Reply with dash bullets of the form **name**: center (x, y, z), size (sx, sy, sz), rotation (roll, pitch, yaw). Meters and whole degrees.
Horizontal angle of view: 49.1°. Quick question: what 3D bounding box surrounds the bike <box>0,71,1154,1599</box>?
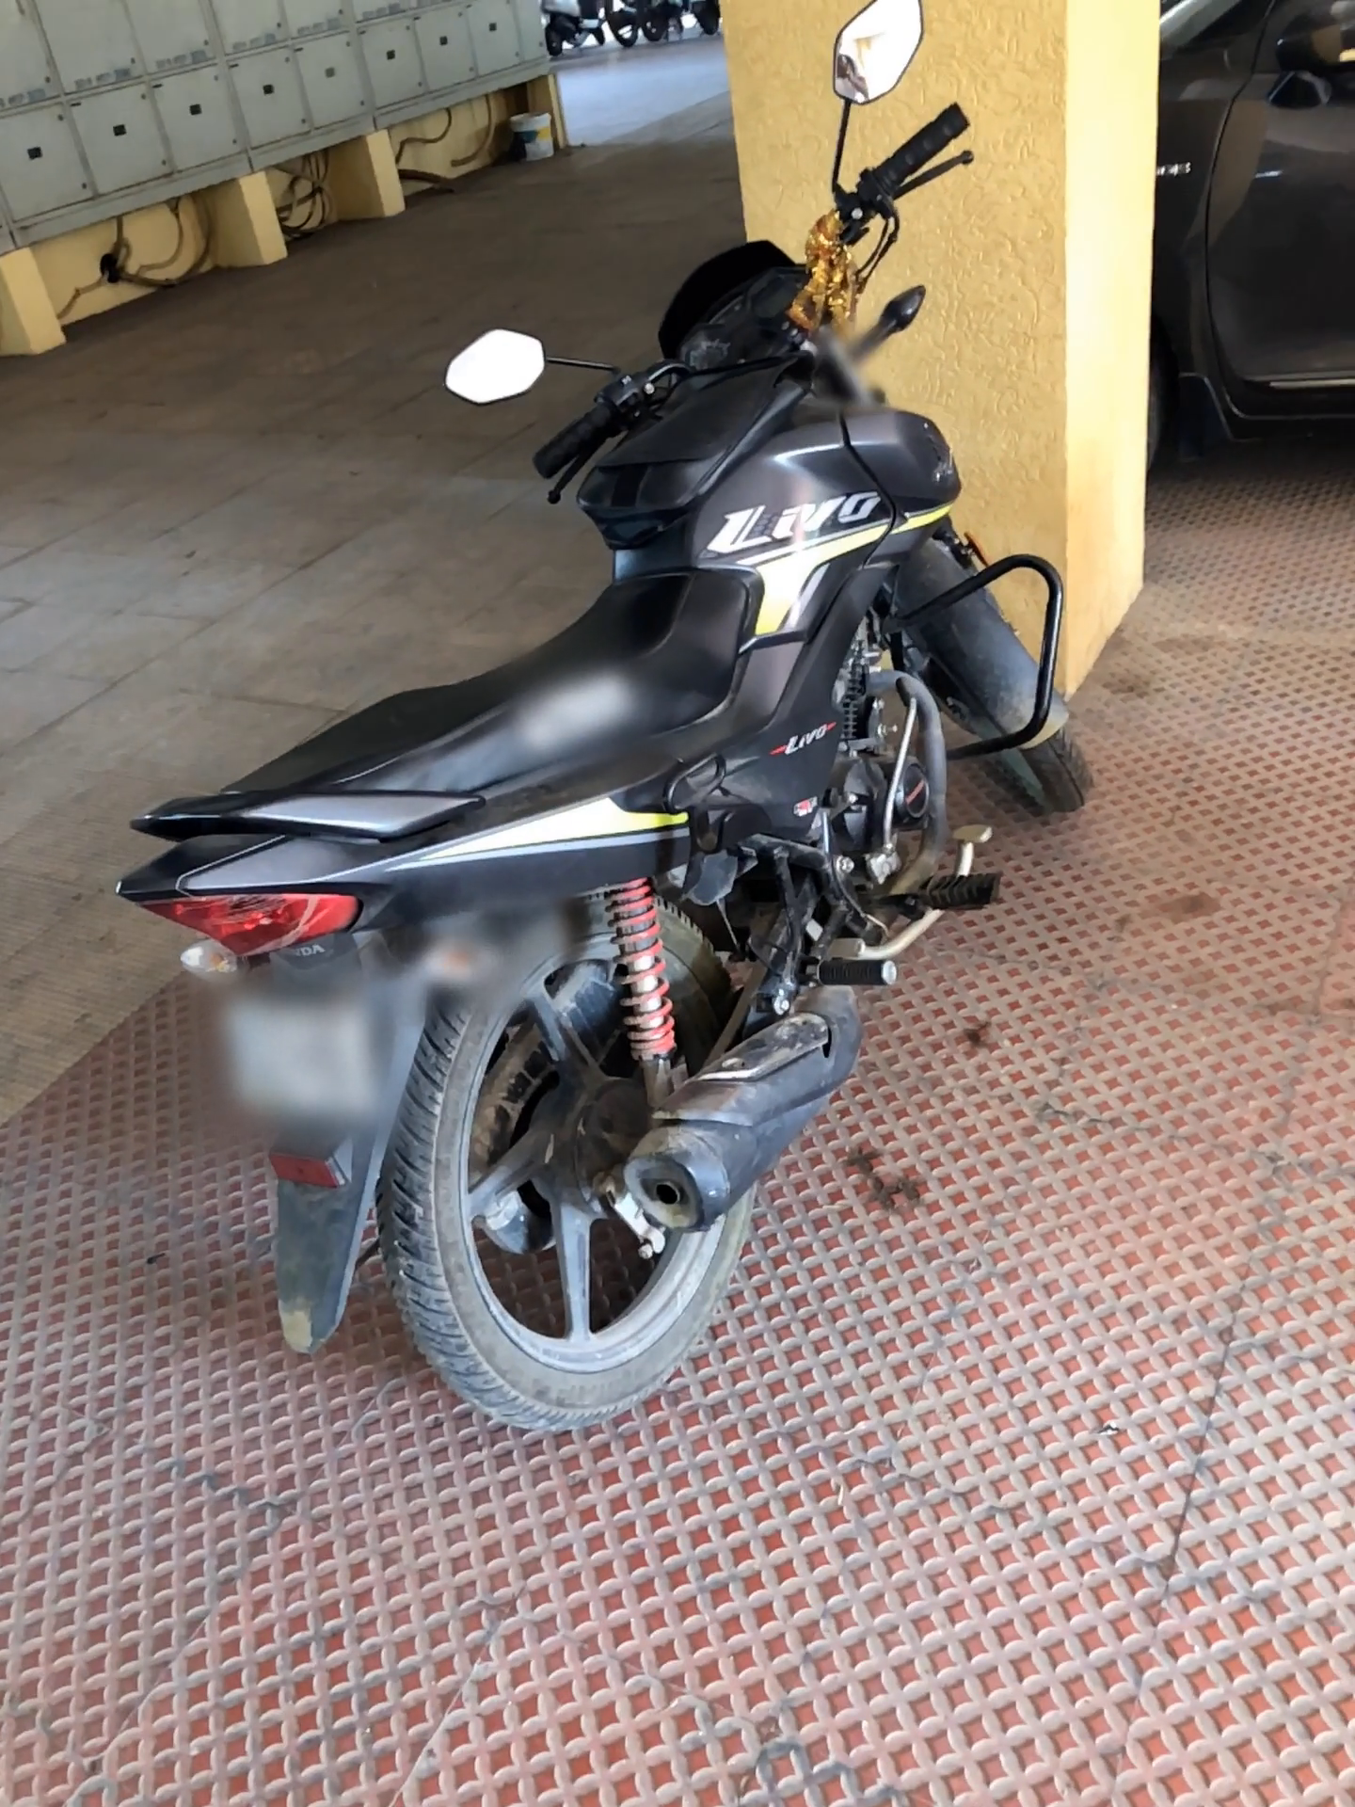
- **bike**: center (0.010, -0.261, 1.874), size (0.718, 1.088, 1.626), rotation (10, 39, 28)
